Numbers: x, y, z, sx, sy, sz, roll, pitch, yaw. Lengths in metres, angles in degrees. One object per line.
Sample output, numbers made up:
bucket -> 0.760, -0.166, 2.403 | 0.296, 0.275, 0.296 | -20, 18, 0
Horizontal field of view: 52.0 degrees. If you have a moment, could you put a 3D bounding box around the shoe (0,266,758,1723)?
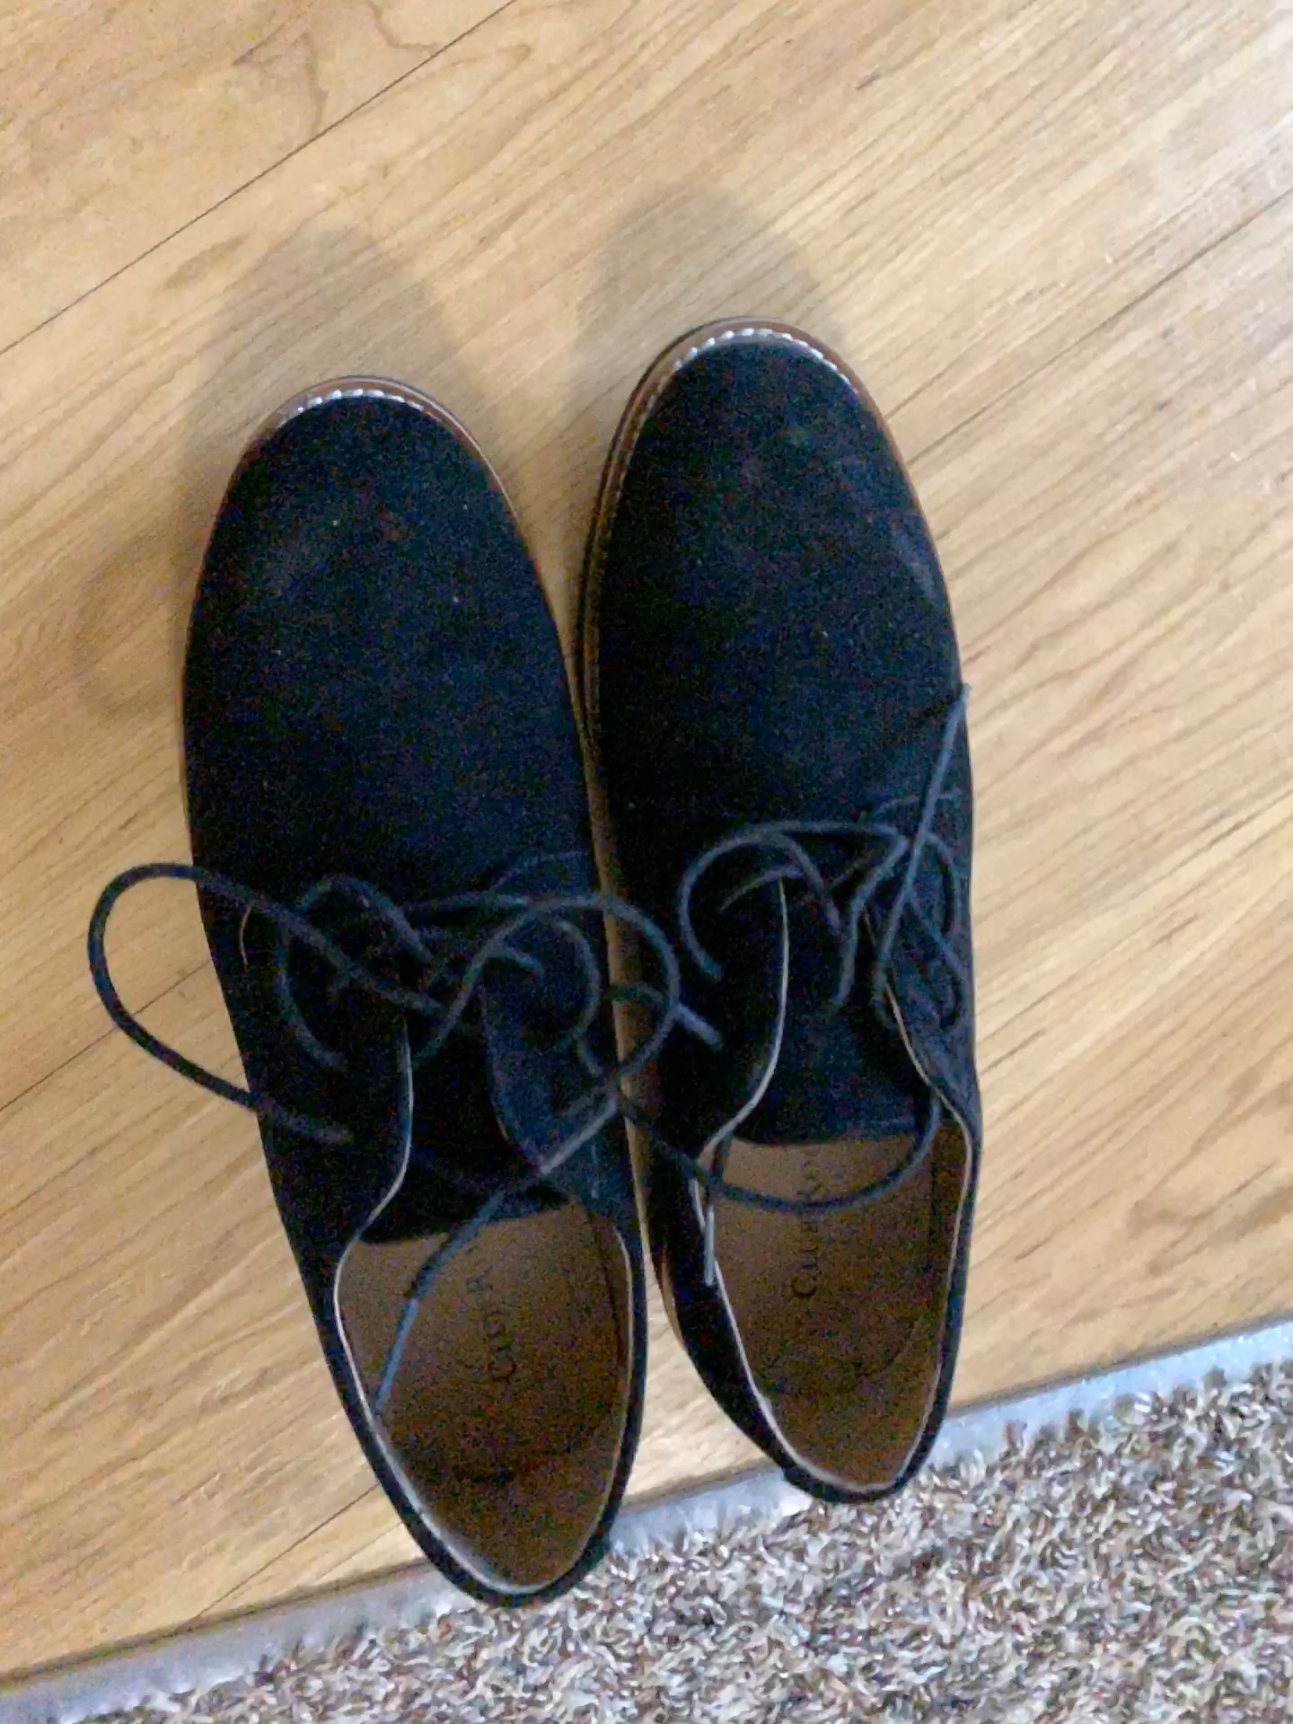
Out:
shoe -> -0.054, 0.042, 0.307 | 0.100, 0.070, 0.310 | -11, 100, -6

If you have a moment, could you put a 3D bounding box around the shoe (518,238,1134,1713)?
shoe -> 0.042, 0.029, 0.317 | 0.110, 0.070, 0.310 | -6, 99, -7
